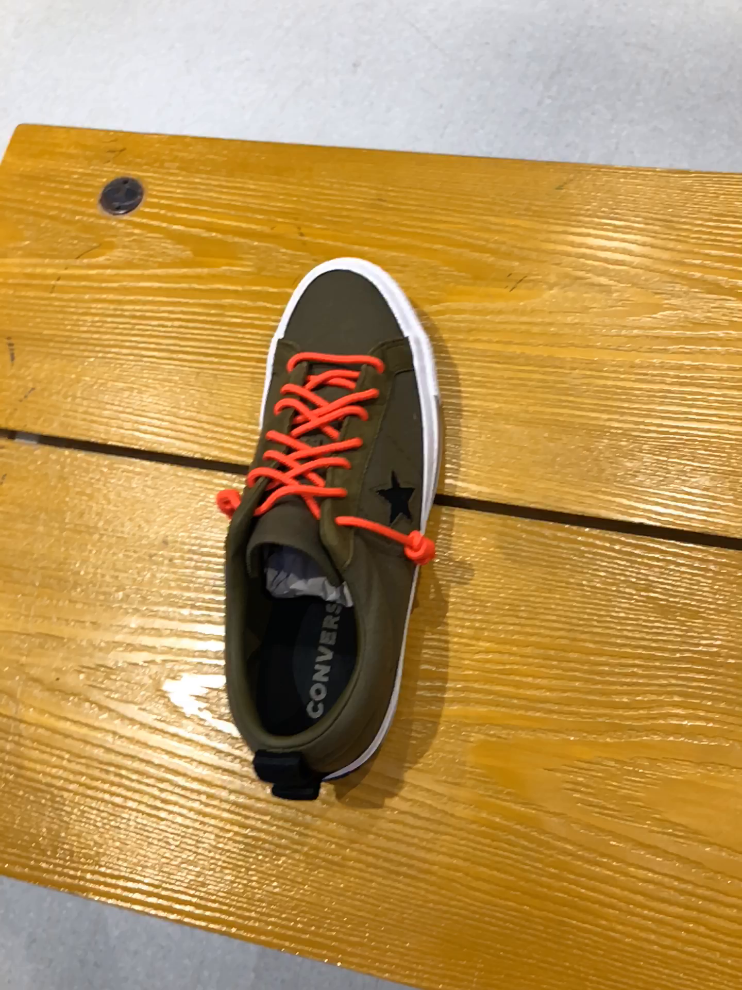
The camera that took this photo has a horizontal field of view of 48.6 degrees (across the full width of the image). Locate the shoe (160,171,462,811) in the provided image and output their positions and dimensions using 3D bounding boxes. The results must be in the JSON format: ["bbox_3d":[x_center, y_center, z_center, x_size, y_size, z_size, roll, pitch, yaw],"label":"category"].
[{"bbox_3d":[-0.015,-0.005,0.410,0.105,0.097,0.293,1,71,9],"label":"shoe"}]
